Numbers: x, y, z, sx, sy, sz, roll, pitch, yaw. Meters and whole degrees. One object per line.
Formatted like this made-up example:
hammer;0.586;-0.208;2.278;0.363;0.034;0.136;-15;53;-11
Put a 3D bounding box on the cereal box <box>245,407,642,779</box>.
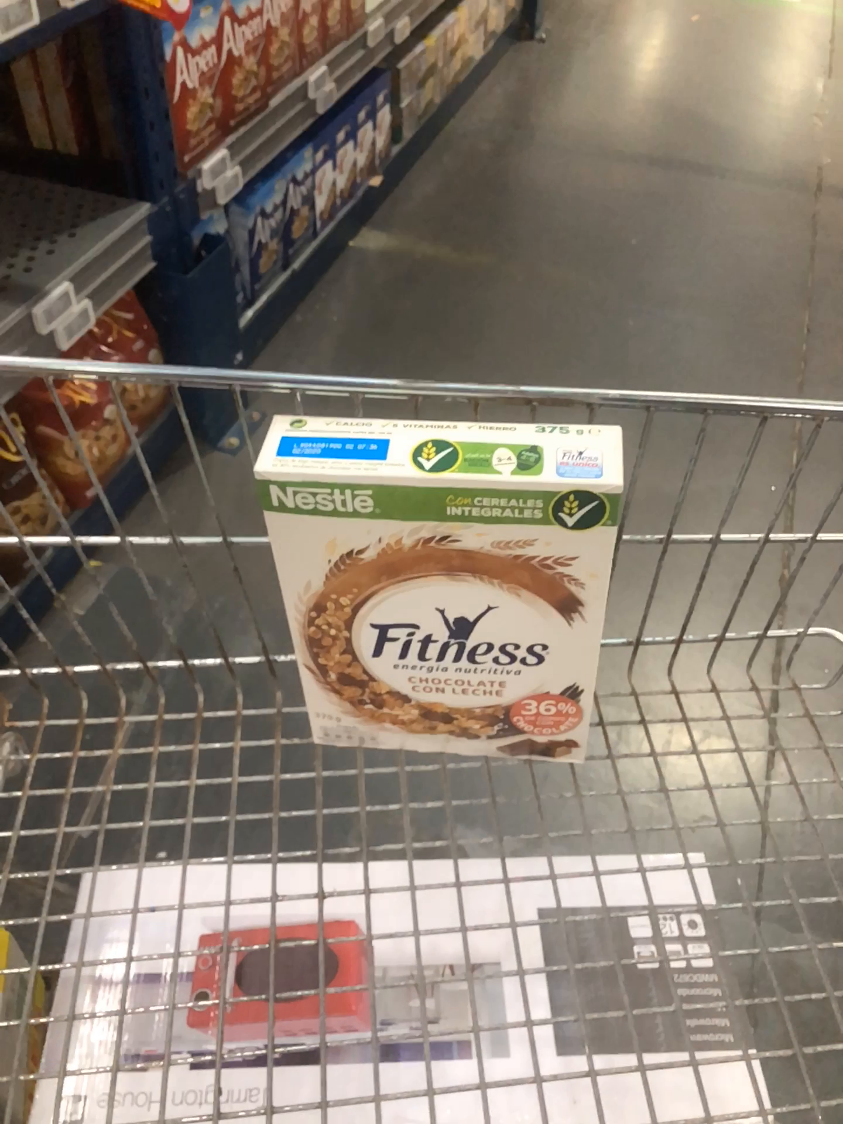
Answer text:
cereal box;0.017;0.031;0.583;0.200;0.259;0.060;3;46;6
